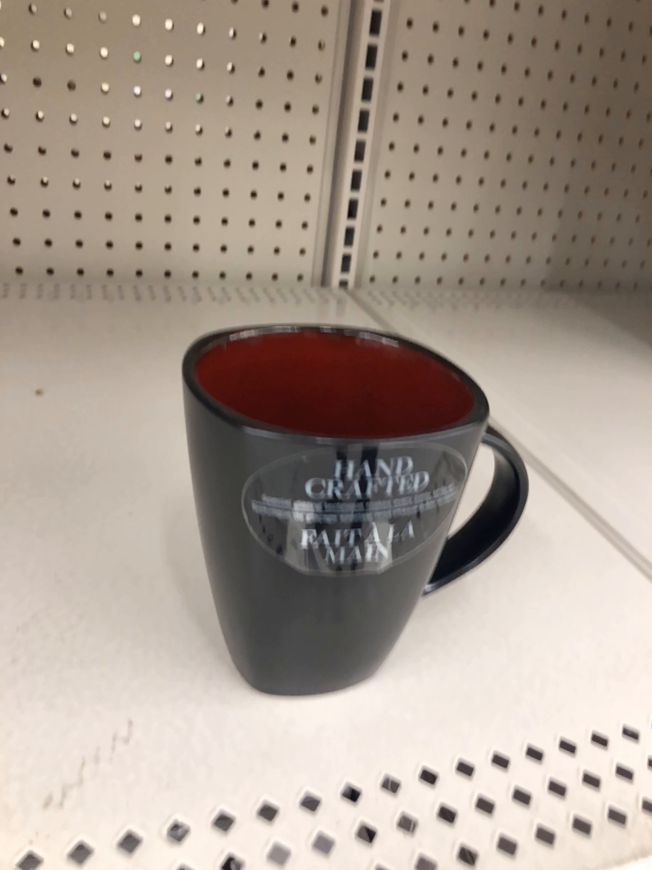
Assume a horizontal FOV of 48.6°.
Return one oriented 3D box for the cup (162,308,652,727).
[{"bbox_3d":[0.019,0.018,0.264,0.143,0.099,0.100,-4,29,-19],"label":"cup"}]
